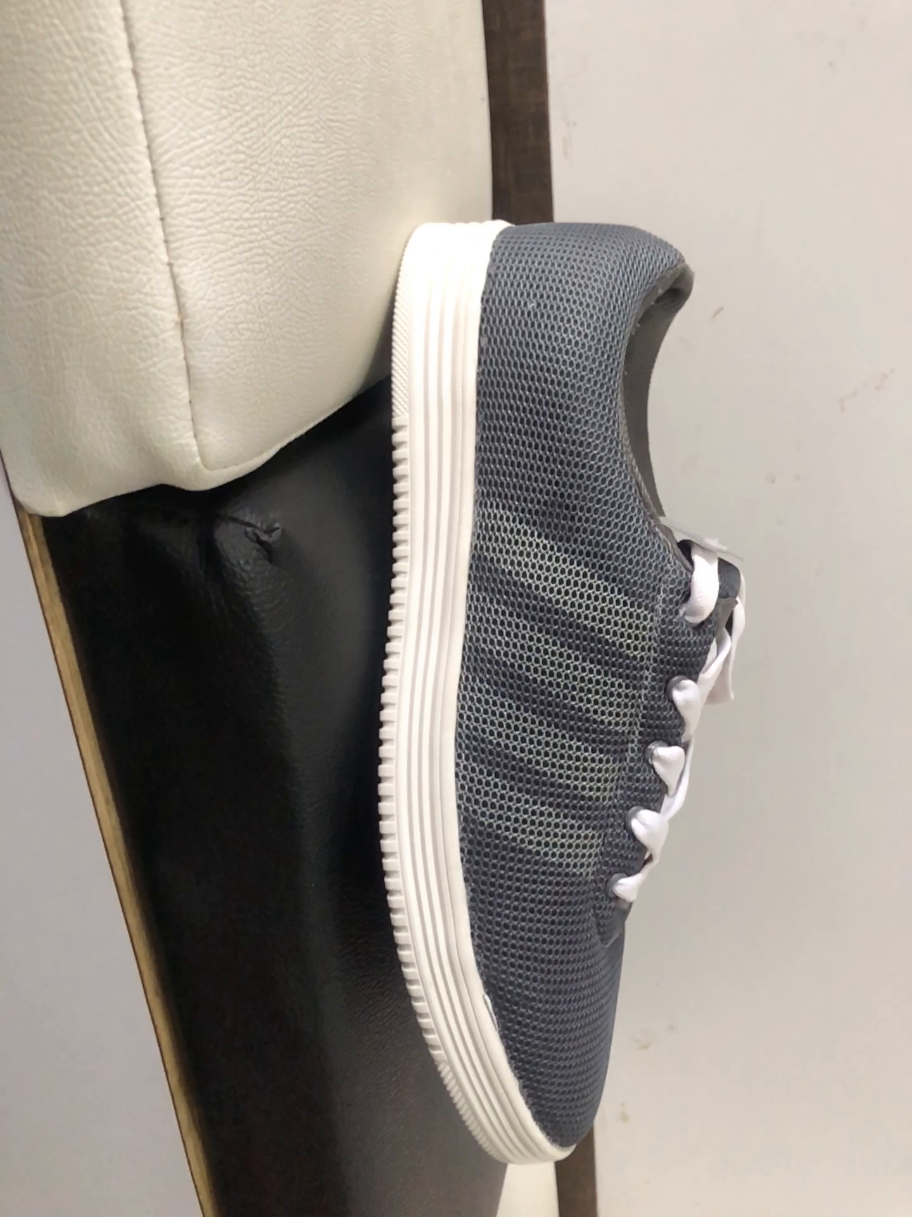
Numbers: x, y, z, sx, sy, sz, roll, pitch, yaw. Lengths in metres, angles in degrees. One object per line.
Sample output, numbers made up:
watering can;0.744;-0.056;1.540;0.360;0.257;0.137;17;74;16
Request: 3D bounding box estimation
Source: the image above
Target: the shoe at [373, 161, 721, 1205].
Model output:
shoe;0.038;0.021;0.352;0.100;0.100;0.300;5;86;-76
